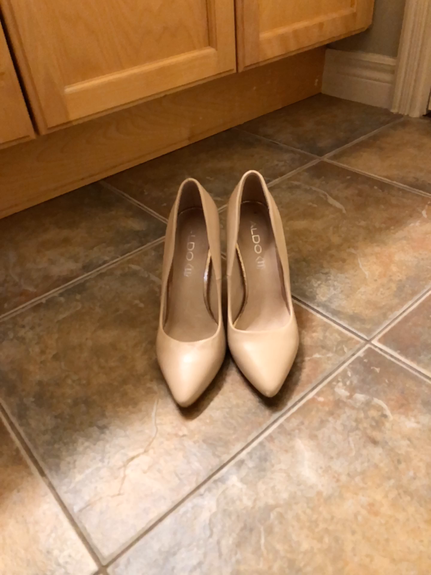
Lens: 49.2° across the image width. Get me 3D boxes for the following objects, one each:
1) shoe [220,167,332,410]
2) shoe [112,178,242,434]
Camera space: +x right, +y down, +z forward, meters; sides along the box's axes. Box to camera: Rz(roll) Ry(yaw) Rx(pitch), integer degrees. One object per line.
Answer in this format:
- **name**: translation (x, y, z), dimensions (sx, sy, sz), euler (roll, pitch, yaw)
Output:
- **shoe**: translation (0.050, -0.012, 0.484), dimensions (0.080, 0.129, 0.231), euler (-3, 38, 2)
- **shoe**: translation (-0.022, 0.006, 0.491), dimensions (0.080, 0.149, 0.231), euler (1, 38, 7)
